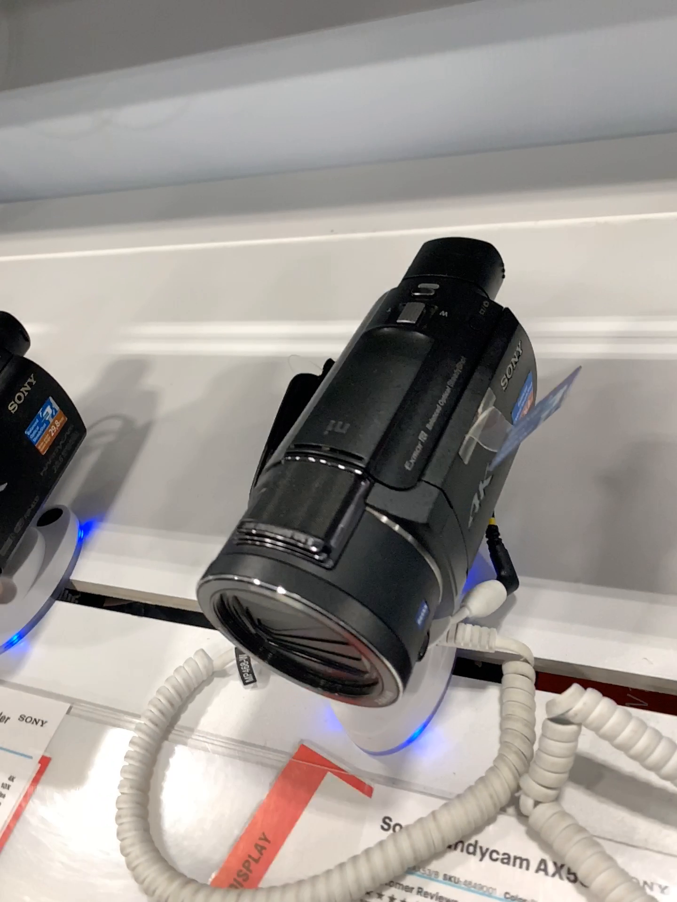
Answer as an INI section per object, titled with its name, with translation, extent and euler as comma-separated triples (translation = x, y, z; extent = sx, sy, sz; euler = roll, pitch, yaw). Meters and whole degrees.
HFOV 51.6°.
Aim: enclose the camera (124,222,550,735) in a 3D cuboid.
[camera]
translation = 0.015, -0.003, 0.234
extent = 0.070, 0.071, 0.151
euler = 11, 53, 27
